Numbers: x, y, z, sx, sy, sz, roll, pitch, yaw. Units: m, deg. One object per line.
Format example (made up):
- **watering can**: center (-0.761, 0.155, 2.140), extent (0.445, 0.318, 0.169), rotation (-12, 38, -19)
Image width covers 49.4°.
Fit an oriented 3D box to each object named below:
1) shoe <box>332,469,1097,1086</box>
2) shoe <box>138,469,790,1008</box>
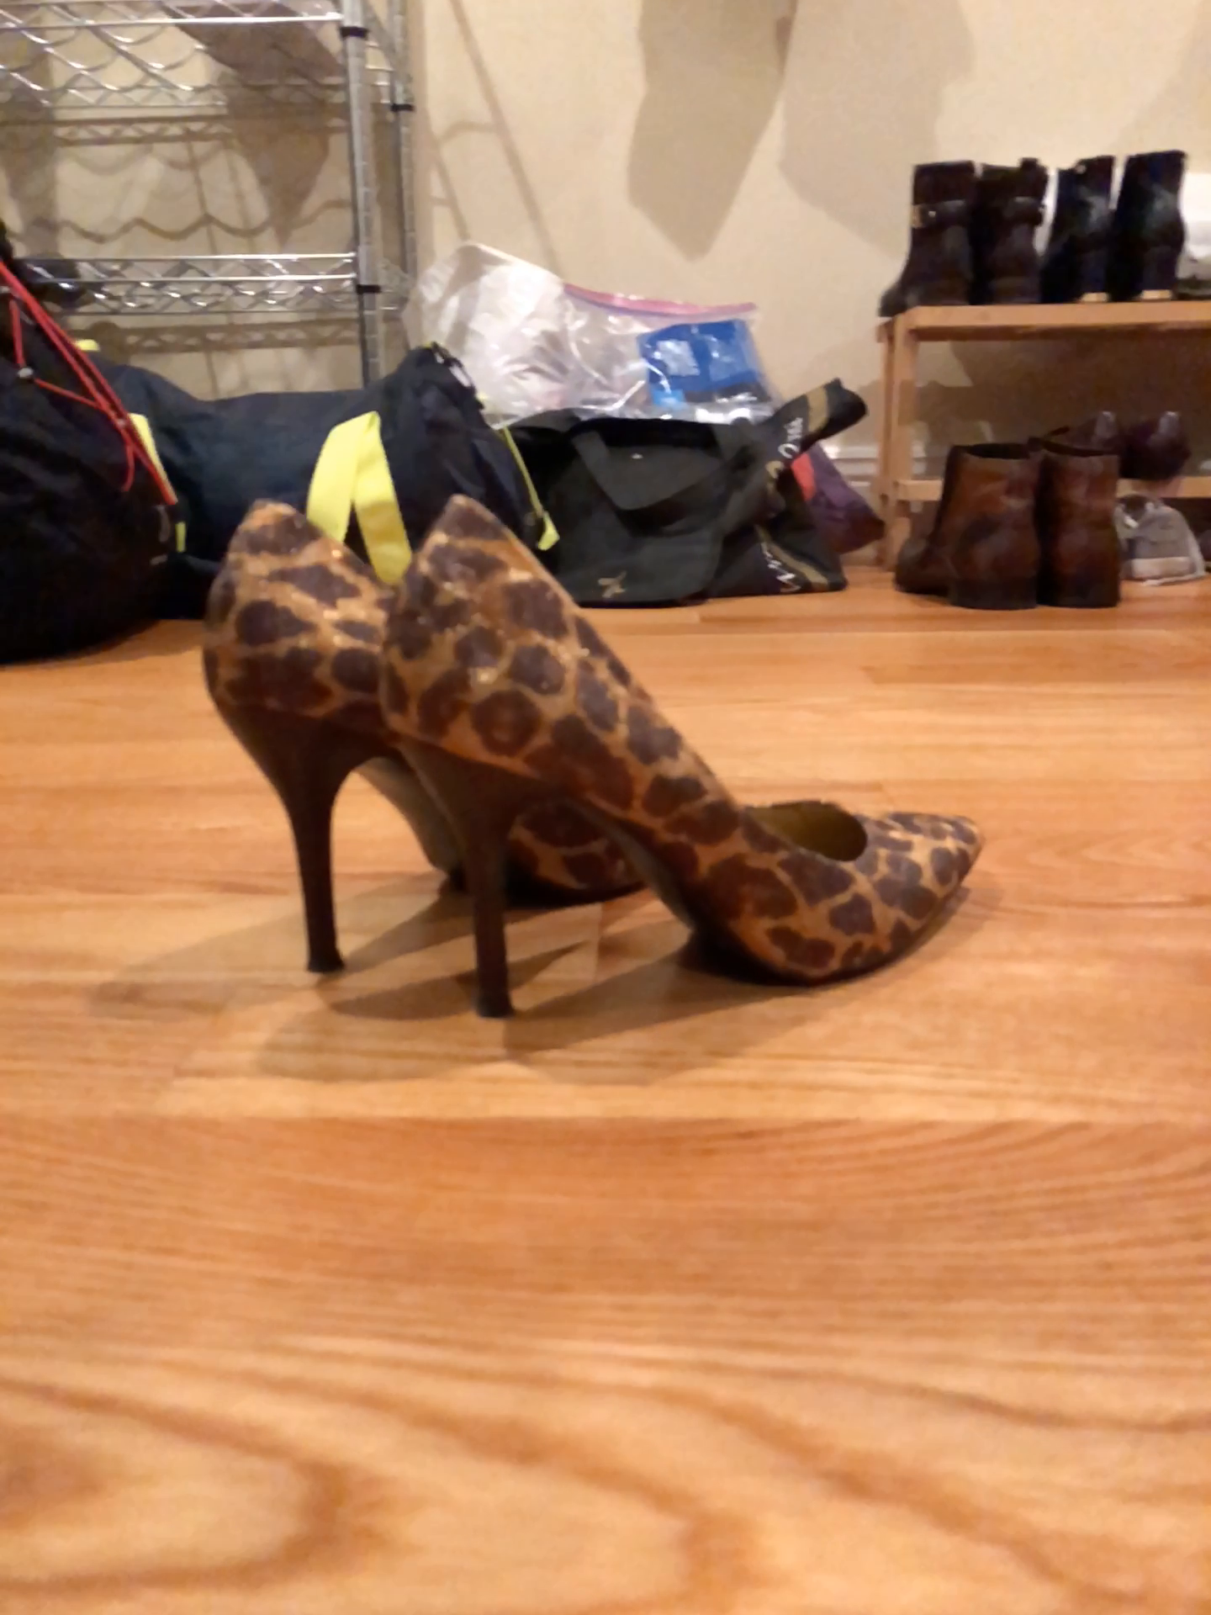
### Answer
- **shoe**: center (0.040, -0.027, 0.401), extent (0.219, 0.144, 0.084), rotation (-11, 18, -33)
- **shoe**: center (-0.034, -0.042, 0.461), extent (0.084, 0.144, 0.219), rotation (12, 20, 40)
